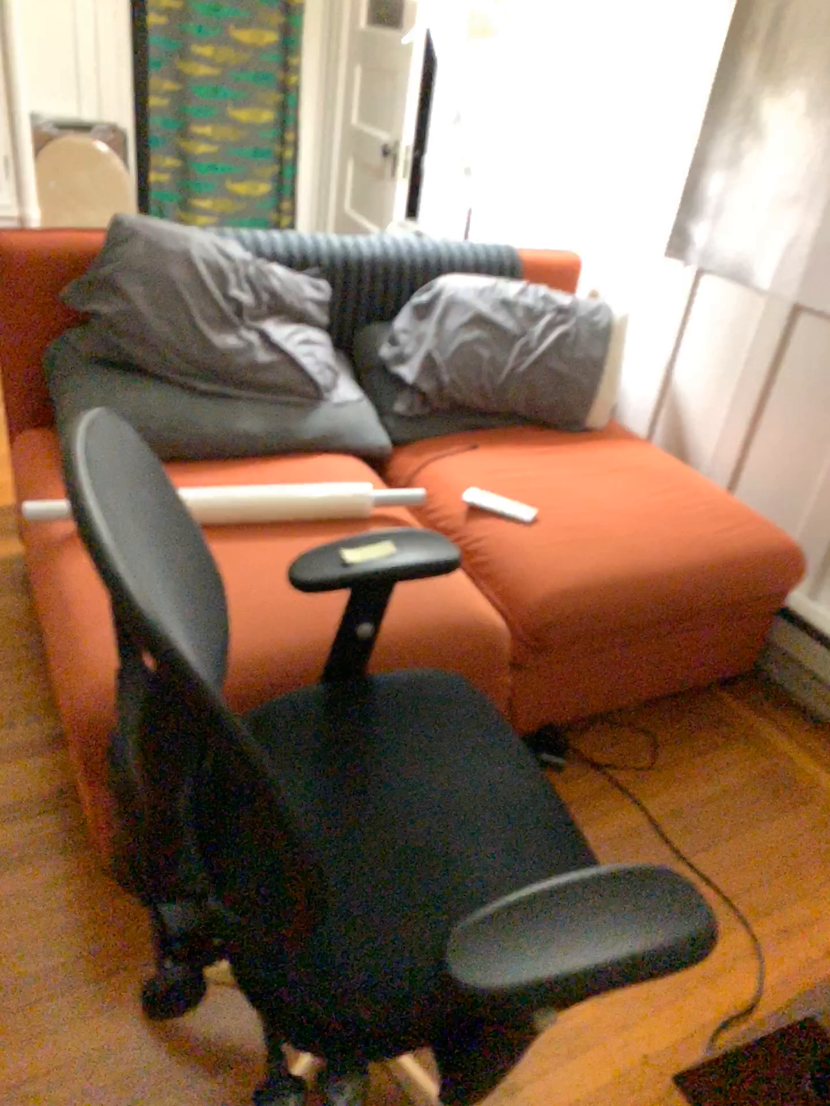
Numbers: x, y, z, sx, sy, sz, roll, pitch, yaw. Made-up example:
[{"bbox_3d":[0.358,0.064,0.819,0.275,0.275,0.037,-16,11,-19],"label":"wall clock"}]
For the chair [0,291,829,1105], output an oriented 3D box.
[{"bbox_3d":[-0.089,0.278,1.002,0.660,0.974,0.643,-7,34,-17],"label":"chair"}]
